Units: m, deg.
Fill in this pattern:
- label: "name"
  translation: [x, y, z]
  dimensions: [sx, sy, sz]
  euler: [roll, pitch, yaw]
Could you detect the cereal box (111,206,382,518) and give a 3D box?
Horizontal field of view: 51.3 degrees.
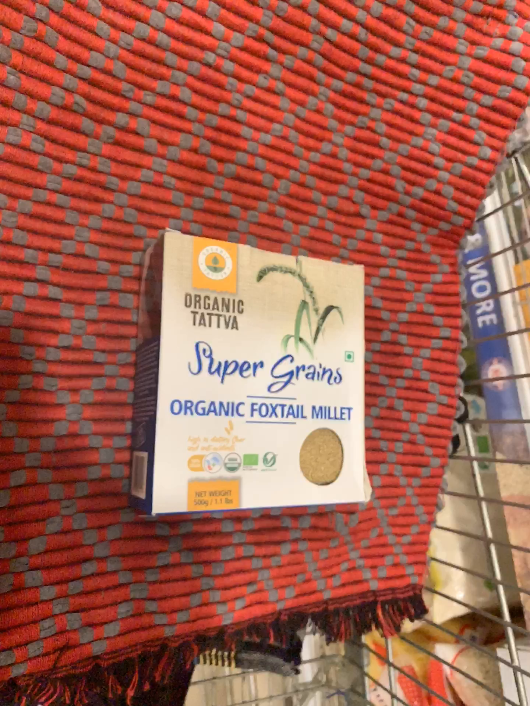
- label: "cereal box"
  translation: [-0.008, 0.010, 0.321]
  dimensions: [0.140, 0.060, 0.150]
  euler: [5, 81, -27]
